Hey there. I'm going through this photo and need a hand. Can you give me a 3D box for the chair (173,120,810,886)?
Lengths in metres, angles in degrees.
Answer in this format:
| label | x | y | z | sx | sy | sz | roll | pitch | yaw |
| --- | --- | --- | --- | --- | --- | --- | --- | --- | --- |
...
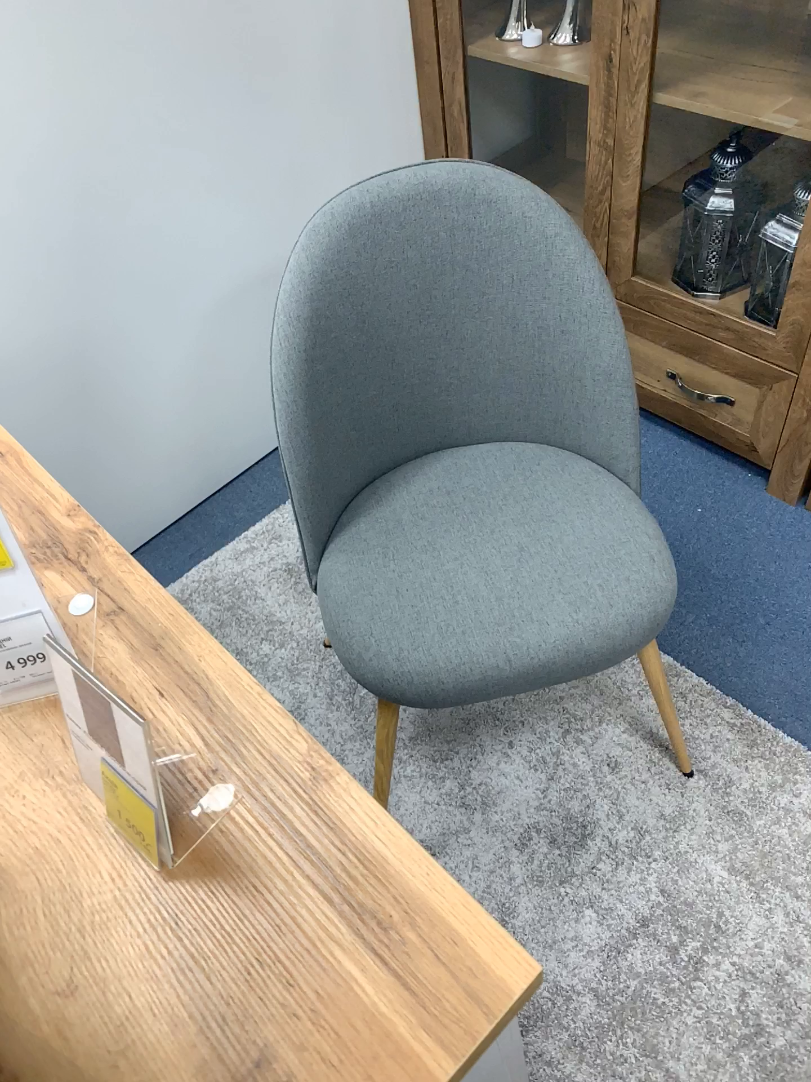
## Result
| label | x | y | z | sx | sy | sz | roll | pitch | yaw |
| --- | --- | --- | --- | --- | --- | --- | --- | --- | --- |
| chair | 0.088 | -0.023 | 1.120 | 0.530 | 0.737 | 0.572 | -16 | 48 | -5 |
